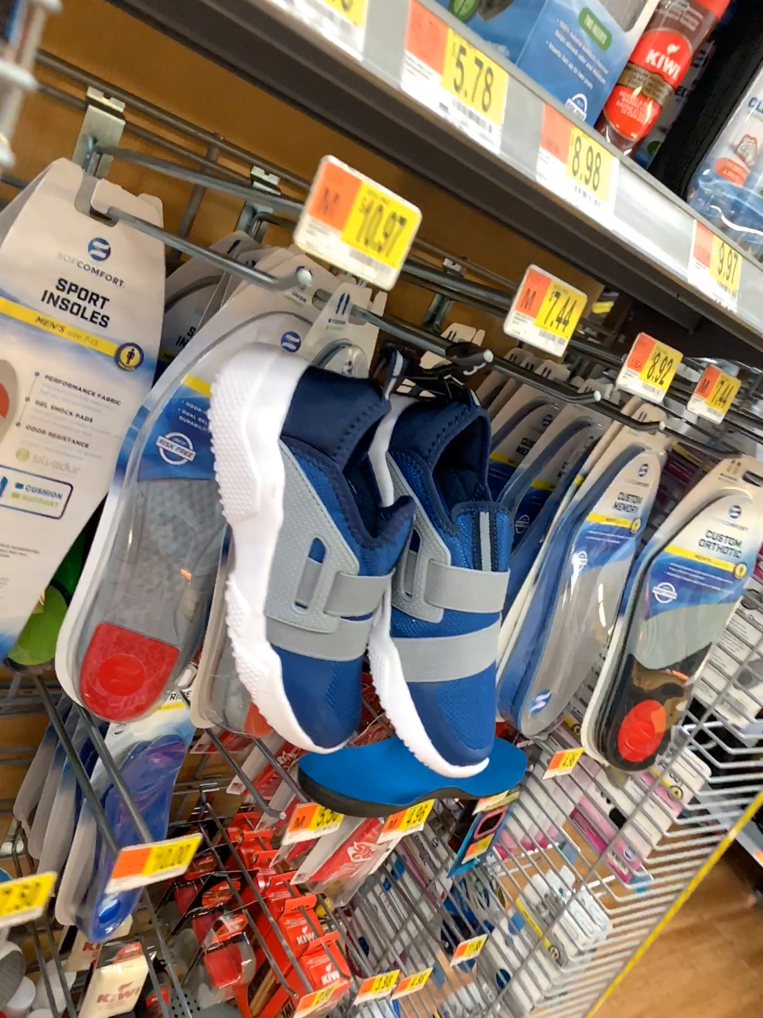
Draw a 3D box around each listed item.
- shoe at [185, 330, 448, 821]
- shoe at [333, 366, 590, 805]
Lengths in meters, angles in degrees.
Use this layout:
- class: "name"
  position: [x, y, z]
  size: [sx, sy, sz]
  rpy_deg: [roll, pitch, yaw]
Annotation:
- class: "shoe"
  position: [-0.026, 0.030, 0.435]
  size: [0.098, 0.245, 0.096]
  rpy_deg: [0, 14, 17]
- class: "shoe"
  position: [0.048, 0.044, 0.485]
  size: [0.098, 0.233, 0.101]
  rpy_deg: [-10, -9, 41]
